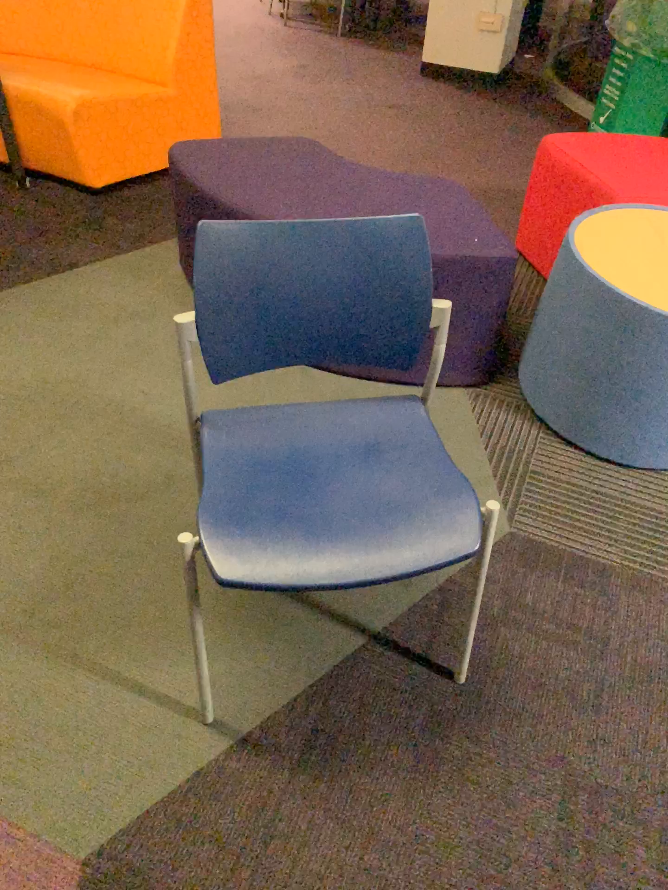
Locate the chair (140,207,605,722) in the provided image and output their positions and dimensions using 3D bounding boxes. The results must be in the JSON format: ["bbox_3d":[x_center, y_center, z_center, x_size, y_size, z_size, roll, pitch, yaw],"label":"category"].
[{"bbox_3d":[-0.002,0.031,1.240,0.560,0.693,0.575,-5,44,-9],"label":"chair"}]
